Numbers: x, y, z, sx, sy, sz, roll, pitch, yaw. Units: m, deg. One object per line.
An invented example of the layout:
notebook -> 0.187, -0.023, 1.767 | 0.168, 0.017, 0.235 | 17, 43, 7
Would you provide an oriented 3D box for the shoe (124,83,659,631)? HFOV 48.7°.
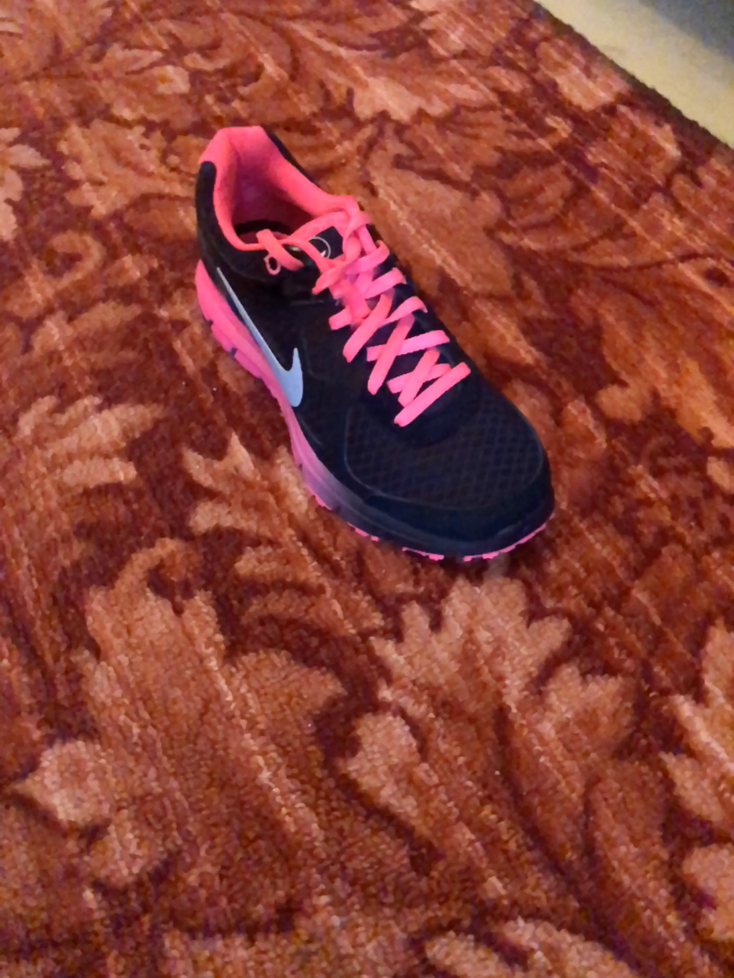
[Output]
shoe -> -0.003, -0.076, 0.398 | 0.110, 0.100, 0.251 | -29, 62, -20
